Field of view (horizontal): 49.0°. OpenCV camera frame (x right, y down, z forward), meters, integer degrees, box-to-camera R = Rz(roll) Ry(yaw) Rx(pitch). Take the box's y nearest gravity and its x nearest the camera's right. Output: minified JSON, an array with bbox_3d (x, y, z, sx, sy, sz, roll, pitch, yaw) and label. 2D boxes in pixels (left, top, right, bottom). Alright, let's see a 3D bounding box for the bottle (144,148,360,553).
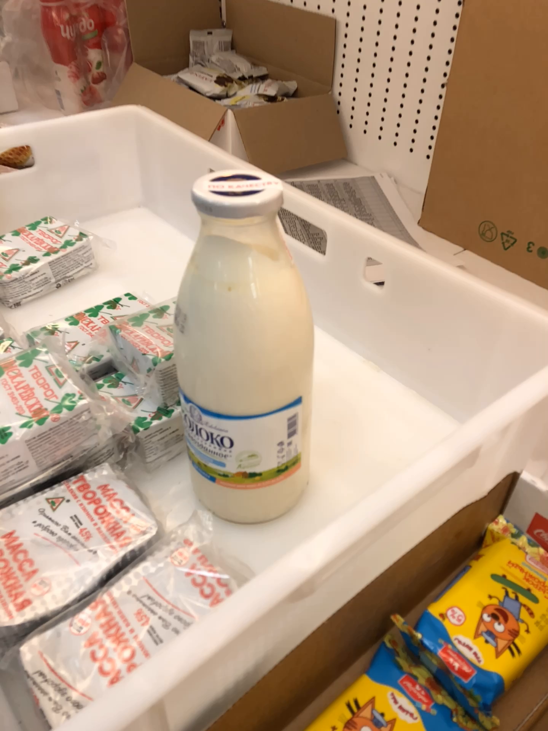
[{"bbox_3d":[-0.014,0.001,0.352,0.072,0.220,0.071,1,39,-1],"label":"bottle"}]
